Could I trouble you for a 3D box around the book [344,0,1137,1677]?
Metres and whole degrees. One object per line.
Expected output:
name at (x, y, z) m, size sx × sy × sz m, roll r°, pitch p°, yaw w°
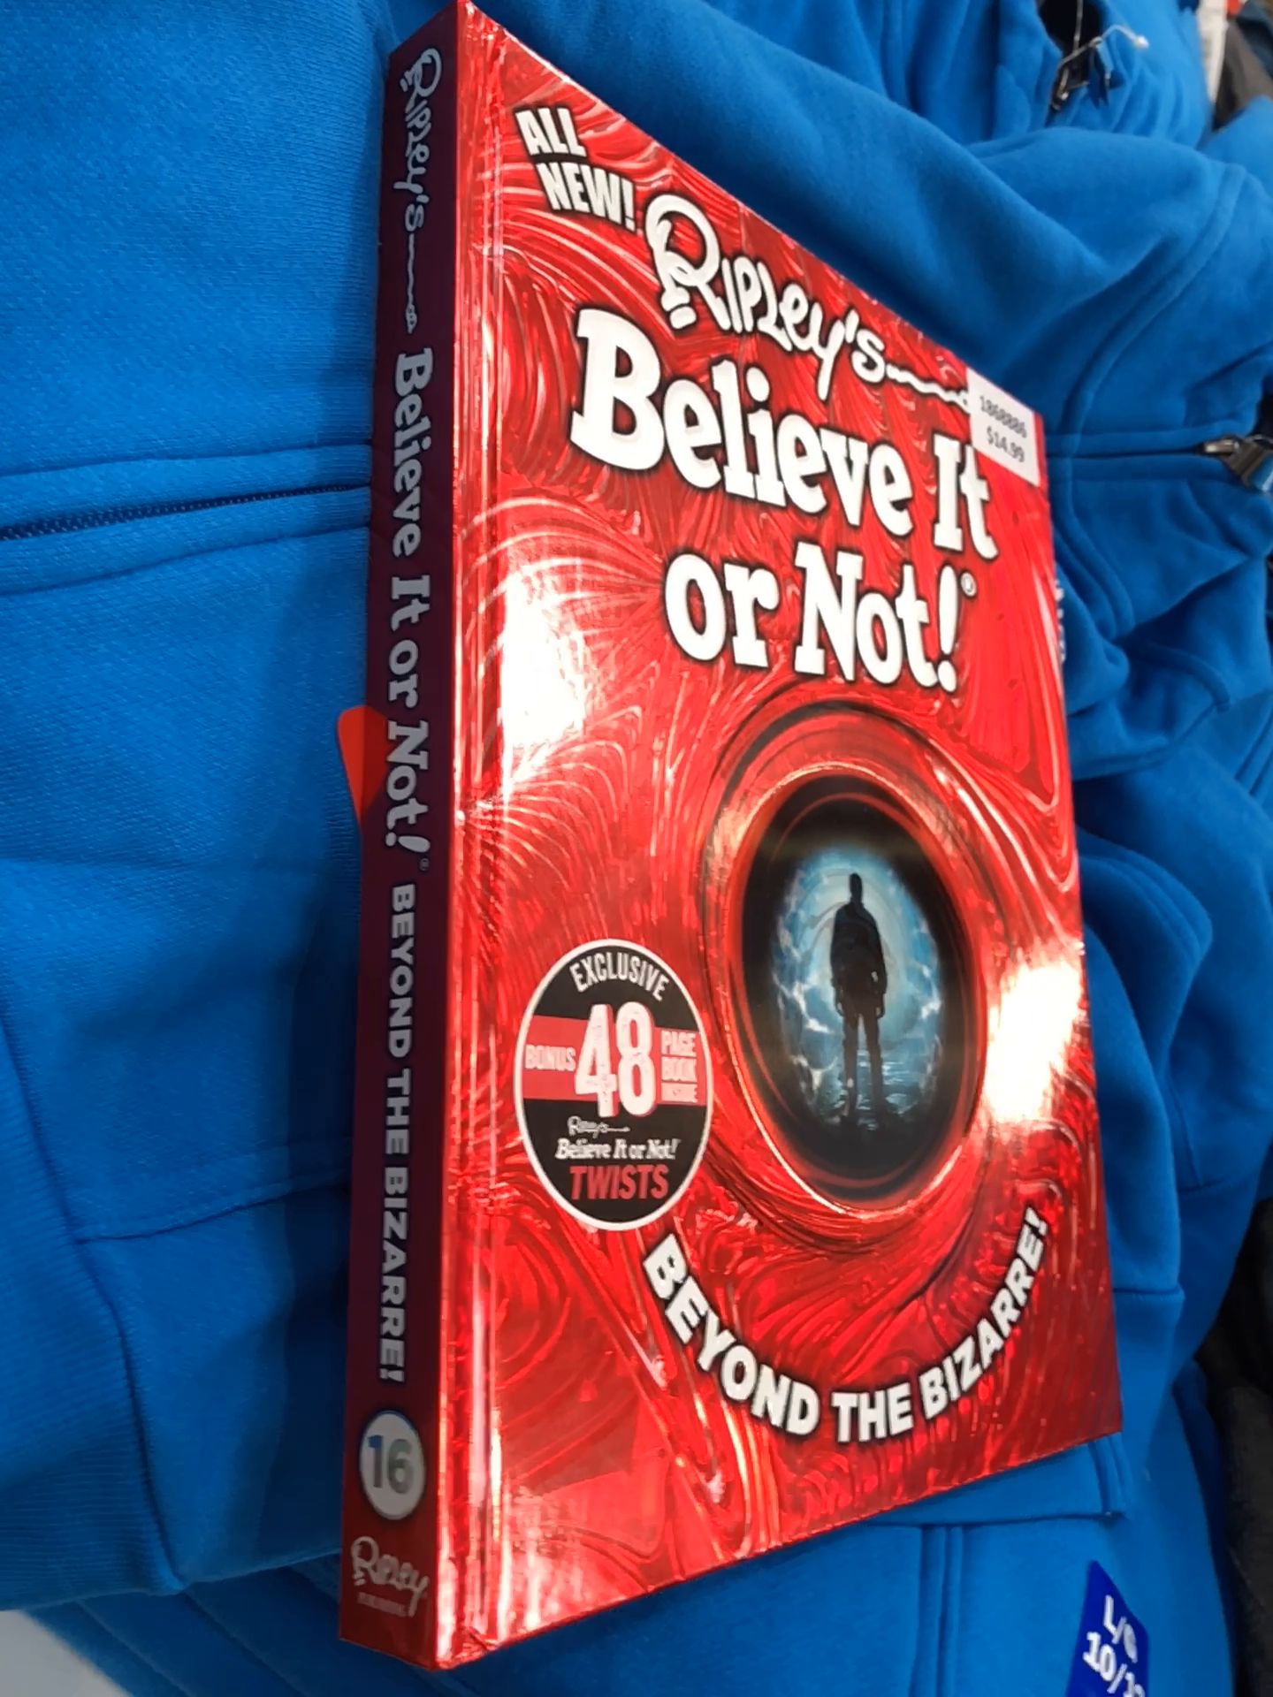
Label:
book at (0.045, -0.002, 0.346) m, size 0.245 × 0.027 × 0.303 m, roll 11°, pitch 74°, yaw -46°
